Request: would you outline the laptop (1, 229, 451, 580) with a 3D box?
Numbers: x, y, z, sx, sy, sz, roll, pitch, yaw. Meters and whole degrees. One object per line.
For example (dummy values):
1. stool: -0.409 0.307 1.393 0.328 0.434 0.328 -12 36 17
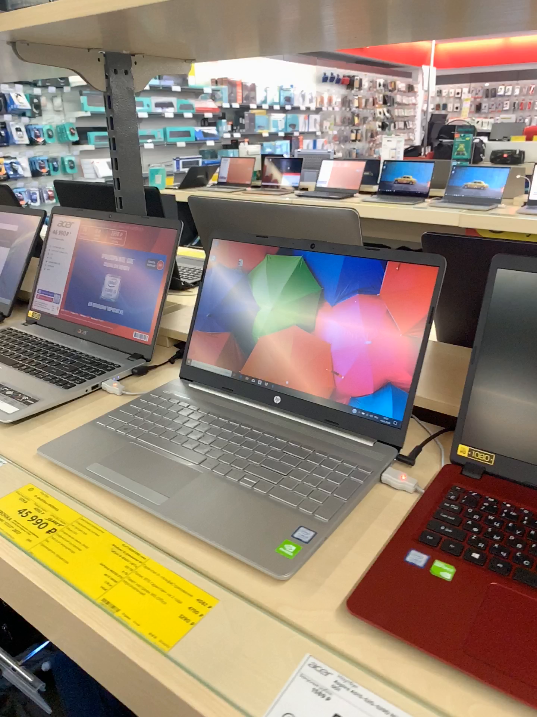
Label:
1. laptop: -0.033 -0.006 0.651 0.360 0.209 0.348 15 27 33
